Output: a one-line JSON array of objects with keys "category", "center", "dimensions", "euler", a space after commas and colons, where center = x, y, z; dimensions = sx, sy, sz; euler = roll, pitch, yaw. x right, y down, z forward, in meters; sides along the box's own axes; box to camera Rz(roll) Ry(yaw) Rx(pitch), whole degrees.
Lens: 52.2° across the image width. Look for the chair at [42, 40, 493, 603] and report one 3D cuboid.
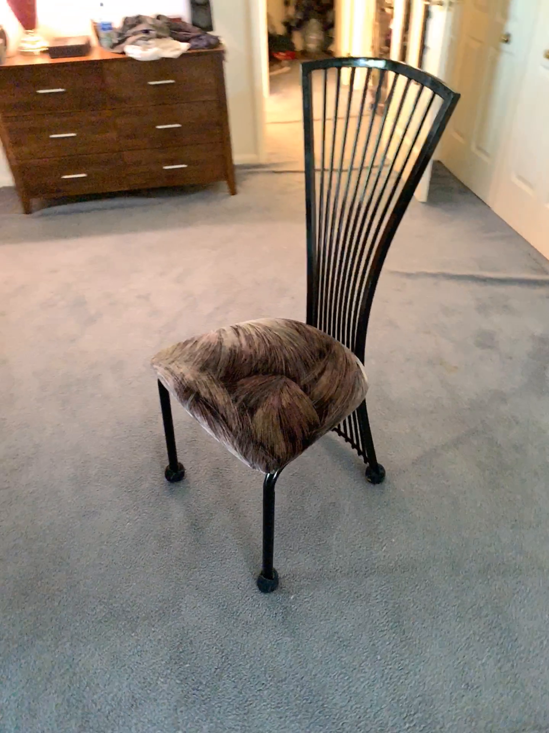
[{"category": "chair", "center": [-0.004, -0.091, 1.225], "dimensions": [0.541, 0.975, 0.512], "euler": [-30, 46, -30]}]
